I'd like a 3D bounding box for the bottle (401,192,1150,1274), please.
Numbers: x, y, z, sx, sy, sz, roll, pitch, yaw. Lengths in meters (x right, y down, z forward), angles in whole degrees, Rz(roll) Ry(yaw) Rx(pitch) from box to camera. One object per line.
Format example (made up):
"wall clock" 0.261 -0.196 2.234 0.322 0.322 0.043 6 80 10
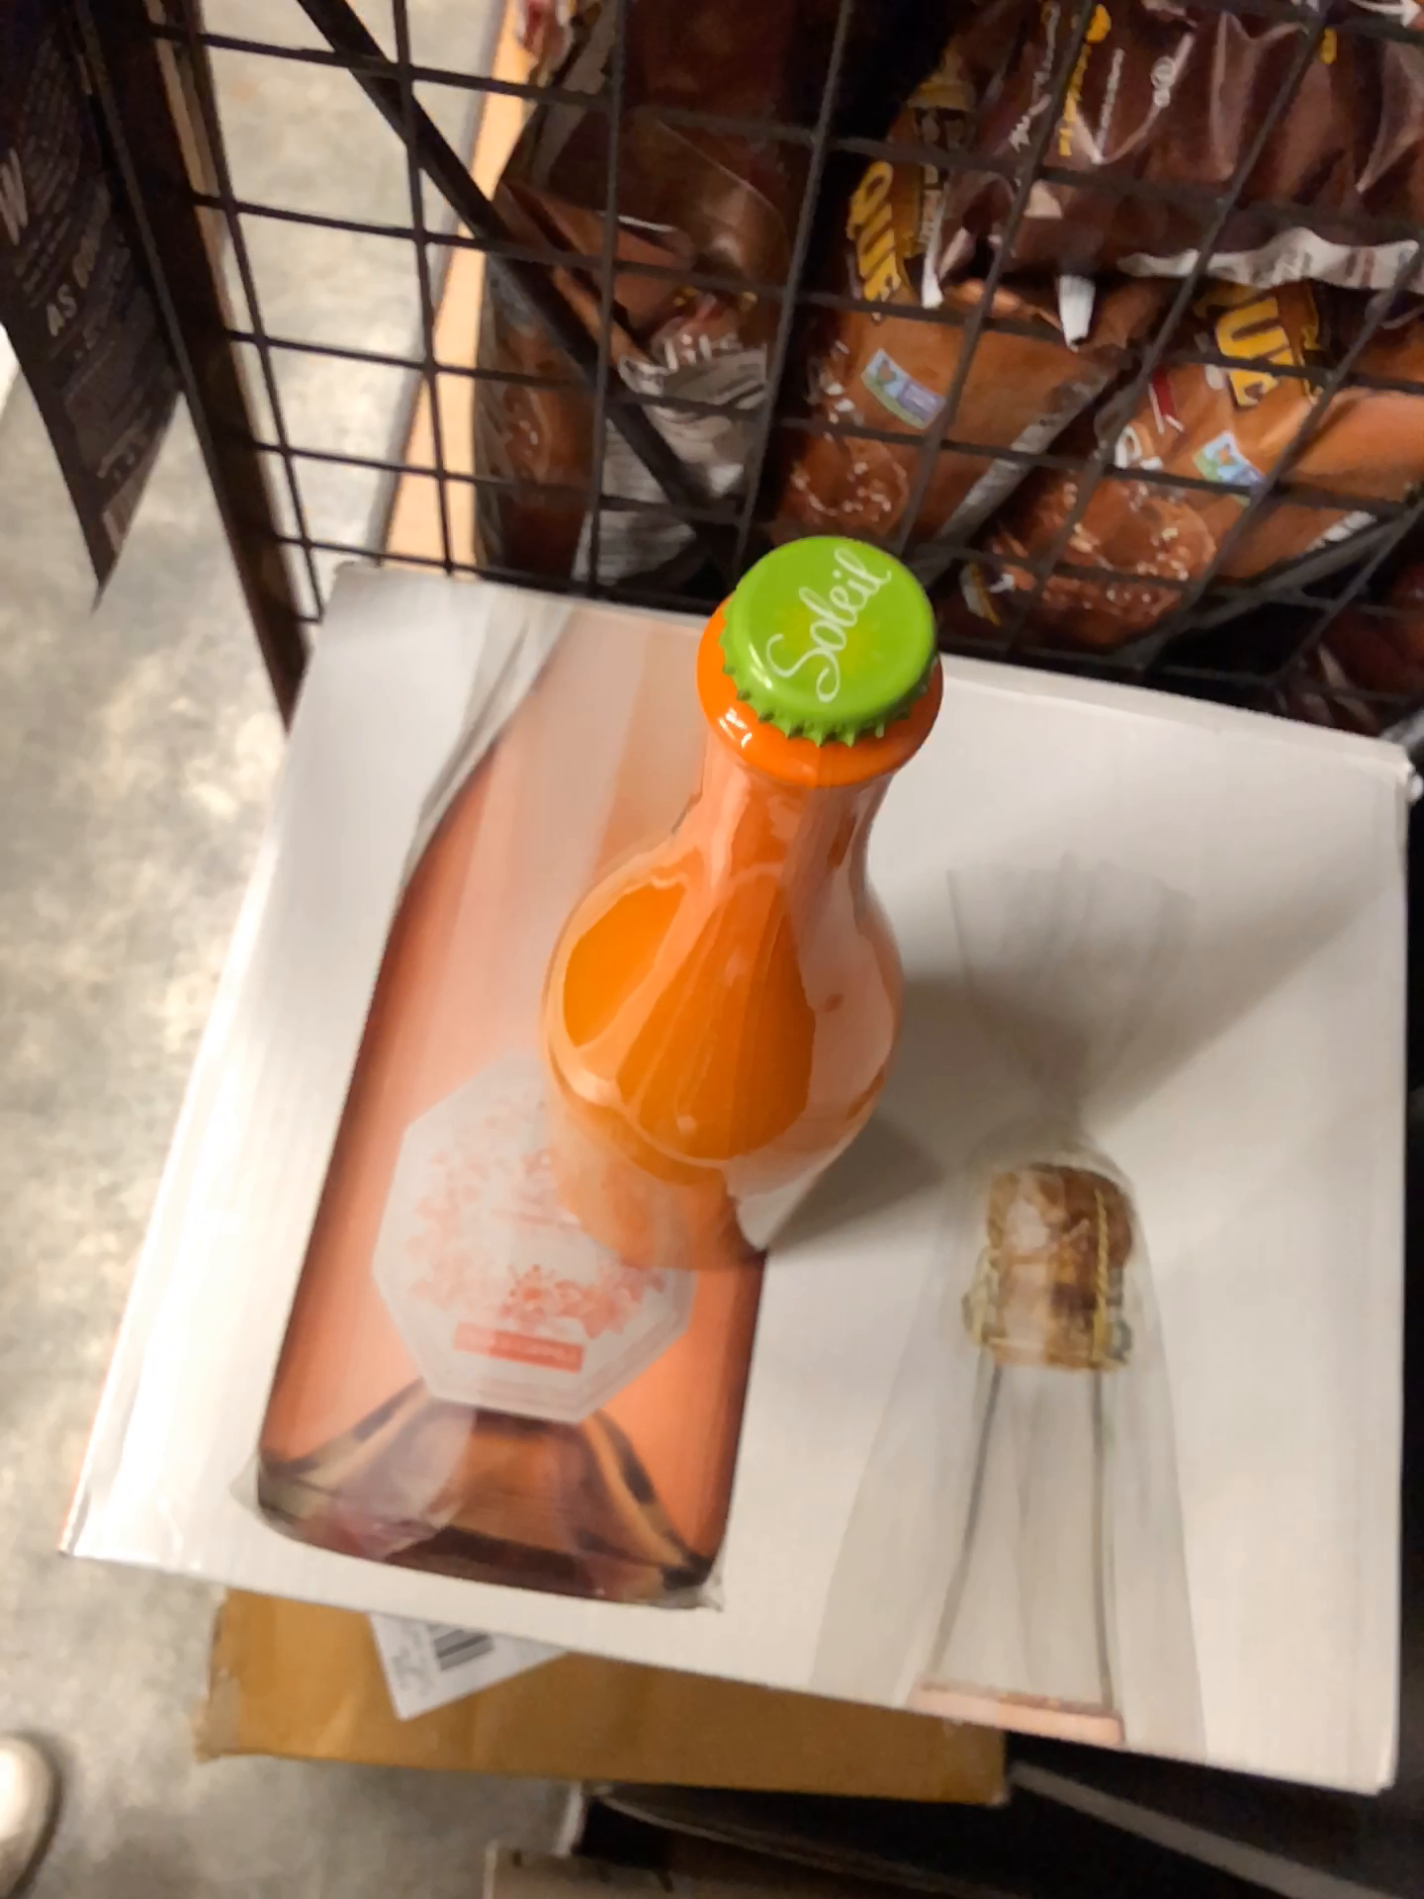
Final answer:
"bottle" -0.002 -0.006 0.334 0.090 0.280 0.090 2 68 -5
